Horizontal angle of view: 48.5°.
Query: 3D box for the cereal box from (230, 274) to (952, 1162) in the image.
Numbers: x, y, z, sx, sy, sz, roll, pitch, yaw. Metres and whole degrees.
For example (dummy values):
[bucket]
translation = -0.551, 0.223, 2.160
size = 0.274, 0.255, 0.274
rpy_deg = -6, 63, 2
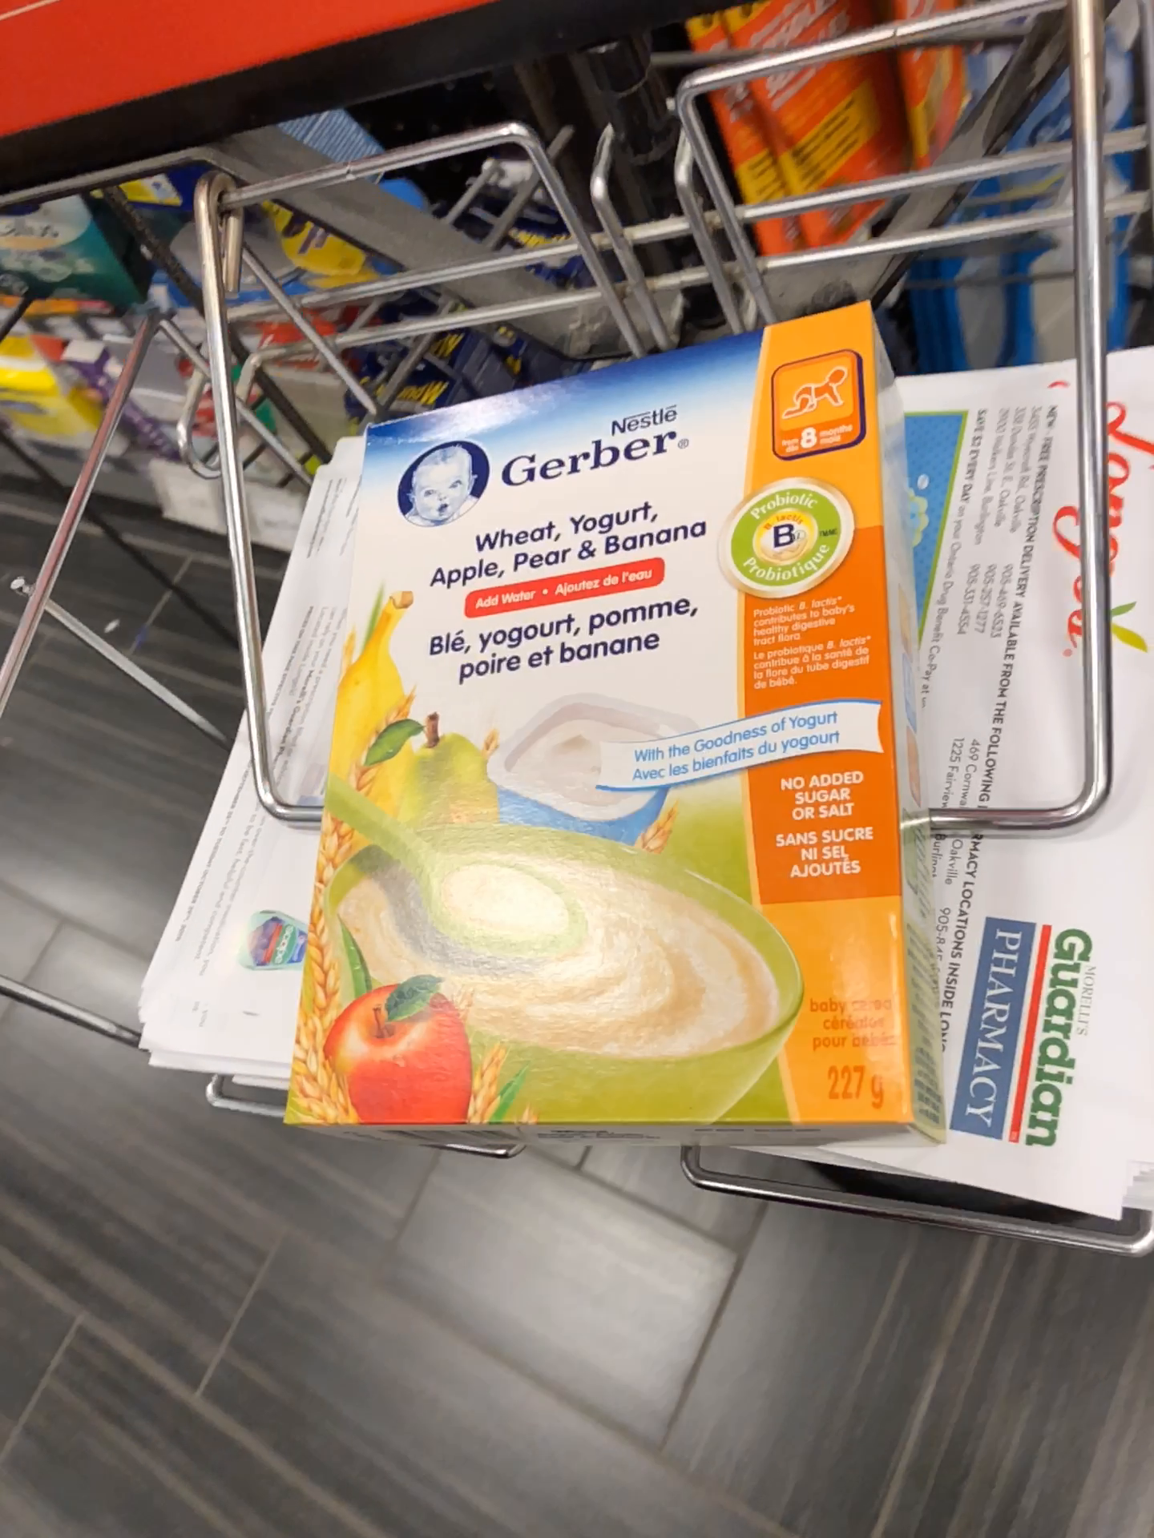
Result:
[cereal box]
translation = 0.004, -0.010, 0.321
size = 0.150, 0.050, 0.200
rpy_deg = -9, 63, 22
